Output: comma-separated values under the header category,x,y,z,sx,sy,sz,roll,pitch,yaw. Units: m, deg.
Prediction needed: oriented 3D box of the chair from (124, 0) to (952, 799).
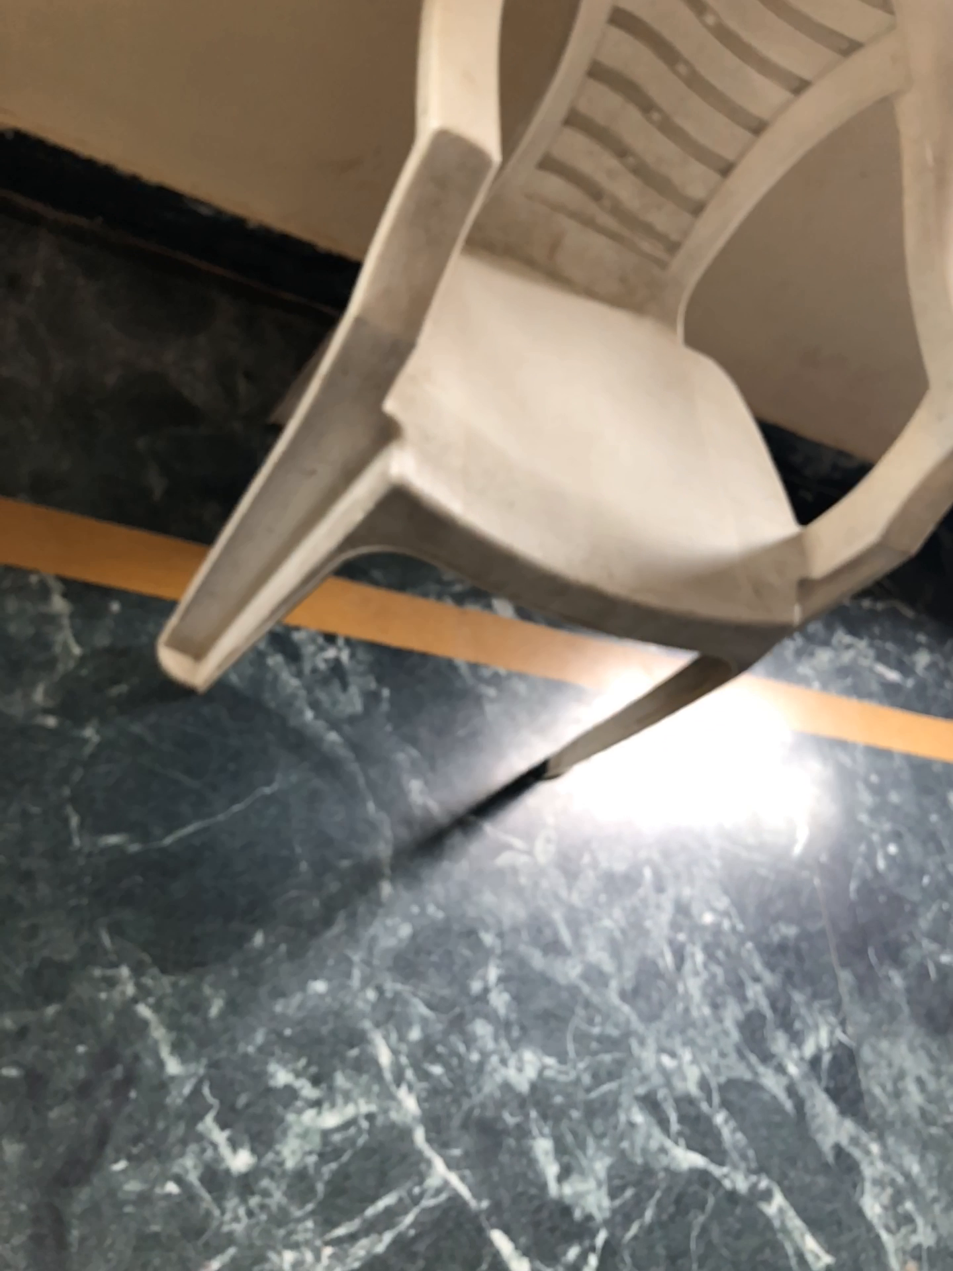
category,x,y,z,sx,sy,sz,roll,pitch,yaw
chair,0.099,-0.307,1.002,0.582,0.774,0.623,14,57,-28
